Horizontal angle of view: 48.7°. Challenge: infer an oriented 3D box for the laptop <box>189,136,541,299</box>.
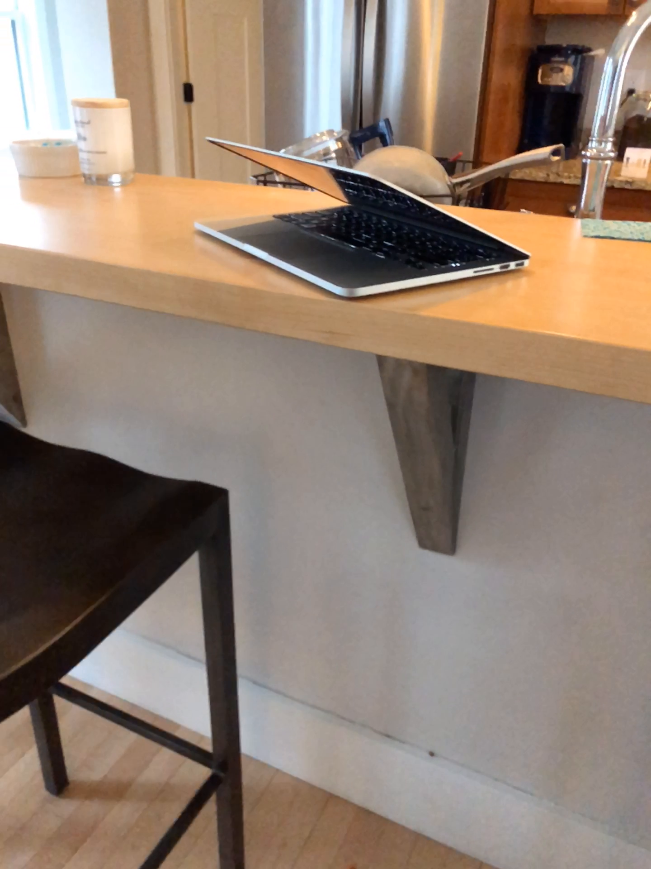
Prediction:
[{"bbox_3d":[0.022,-0.232,0.716,0.211,0.084,0.301,-15,32,-28],"label":"laptop"}]
